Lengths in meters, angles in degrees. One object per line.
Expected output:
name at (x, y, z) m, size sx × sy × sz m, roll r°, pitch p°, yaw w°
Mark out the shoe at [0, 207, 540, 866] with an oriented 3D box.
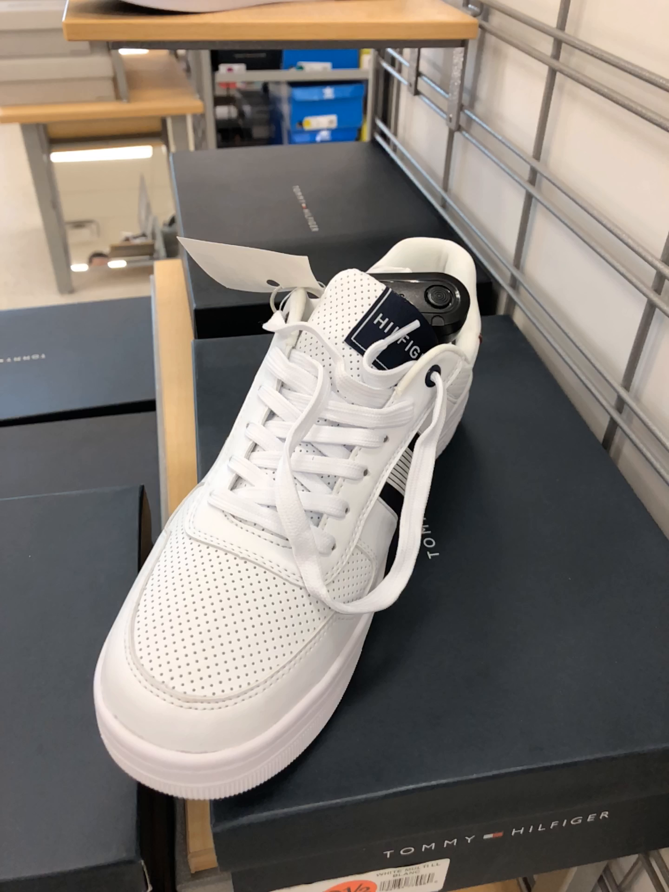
shoe at (-0.007, 0.003, 0.332) m, size 0.110 × 0.109 × 0.282 m, roll 18°, pitch 42°, yaw 19°
